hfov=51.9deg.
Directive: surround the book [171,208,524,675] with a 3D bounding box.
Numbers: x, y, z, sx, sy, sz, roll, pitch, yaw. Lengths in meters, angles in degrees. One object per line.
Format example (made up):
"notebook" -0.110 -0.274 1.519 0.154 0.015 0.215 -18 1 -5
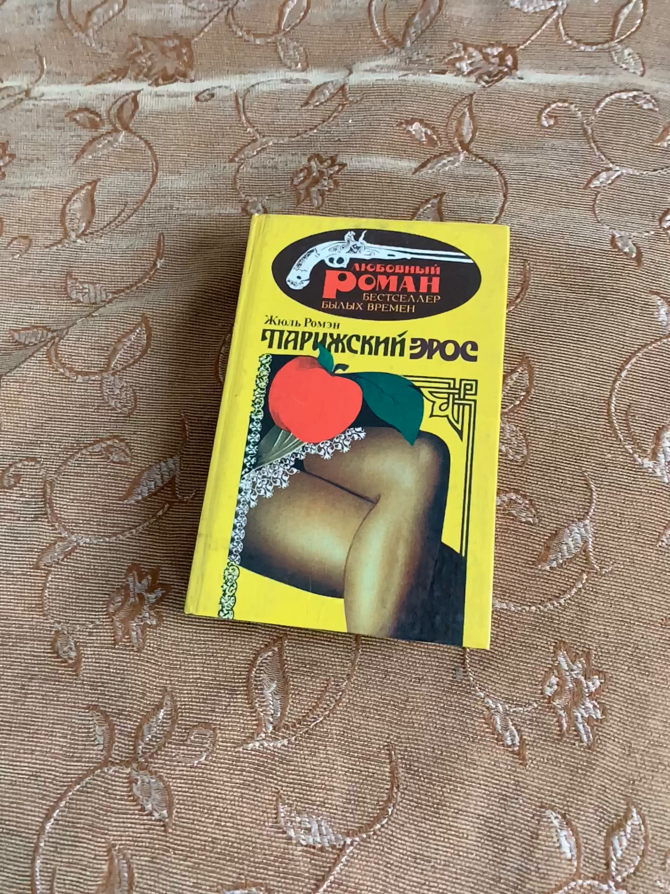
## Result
"book" 0.012 -0.009 0.310 0.130 0.040 0.196 5 73 6
